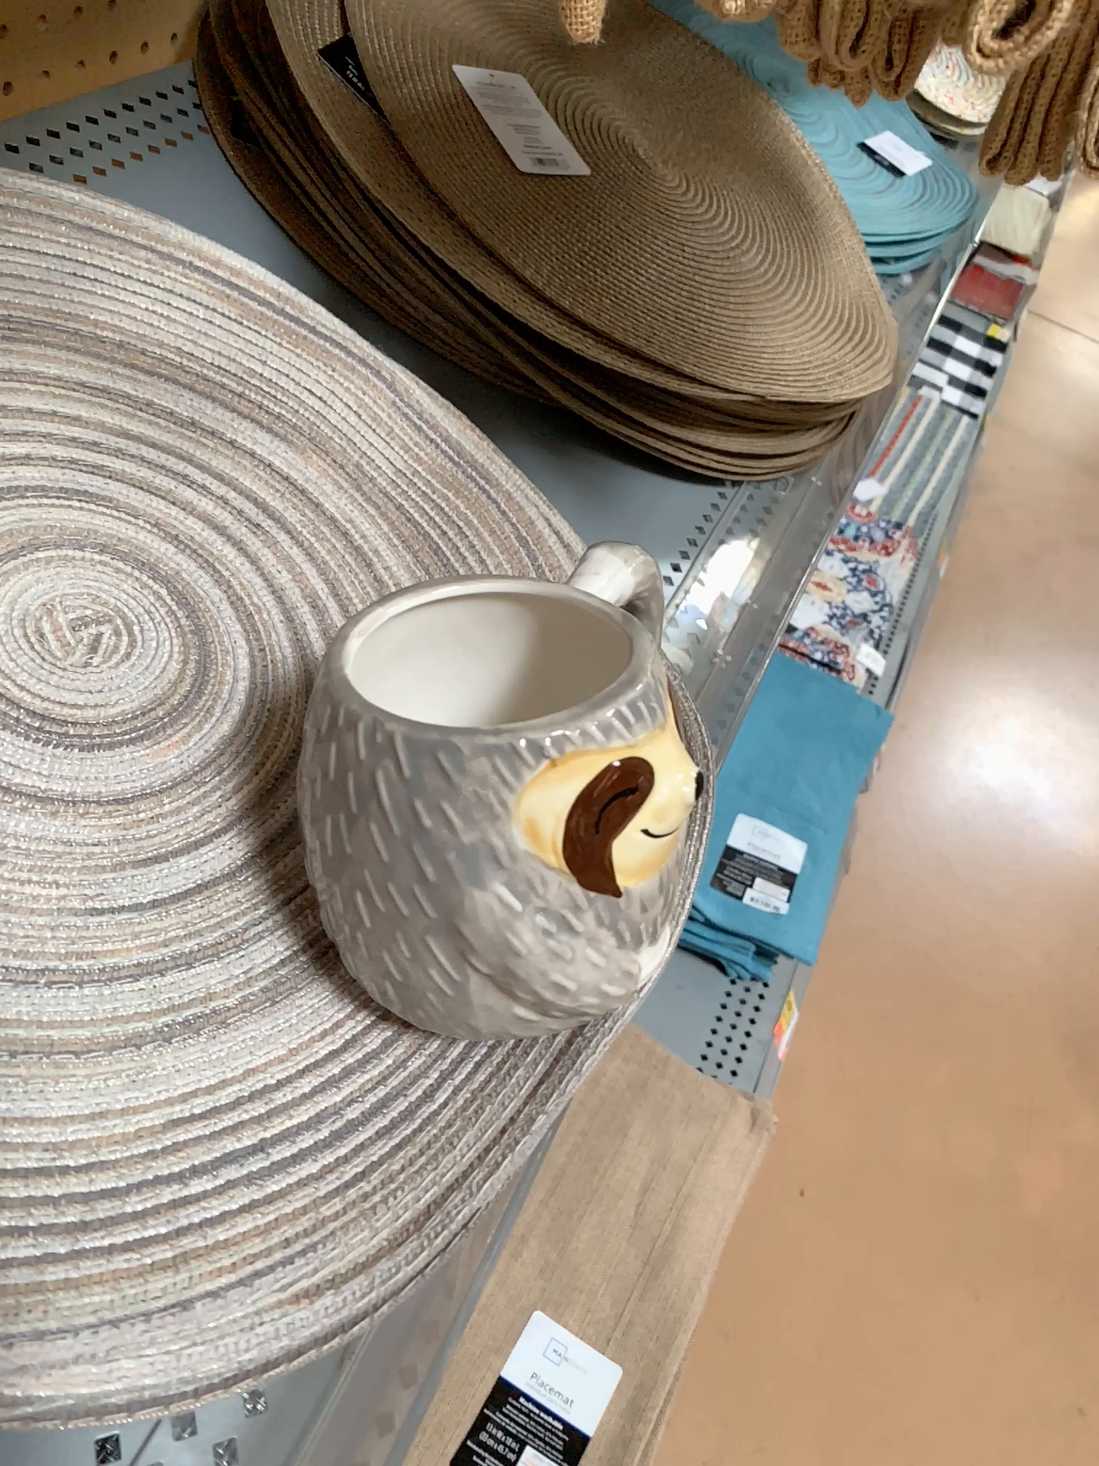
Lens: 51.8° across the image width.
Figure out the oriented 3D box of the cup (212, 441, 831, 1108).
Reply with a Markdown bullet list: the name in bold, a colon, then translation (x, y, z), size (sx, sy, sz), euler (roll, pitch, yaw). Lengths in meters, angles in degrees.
- **cup**: translation (0.003, -0.001, 0.312), size (0.106, 0.089, 0.151), euler (14, 40, 16)
